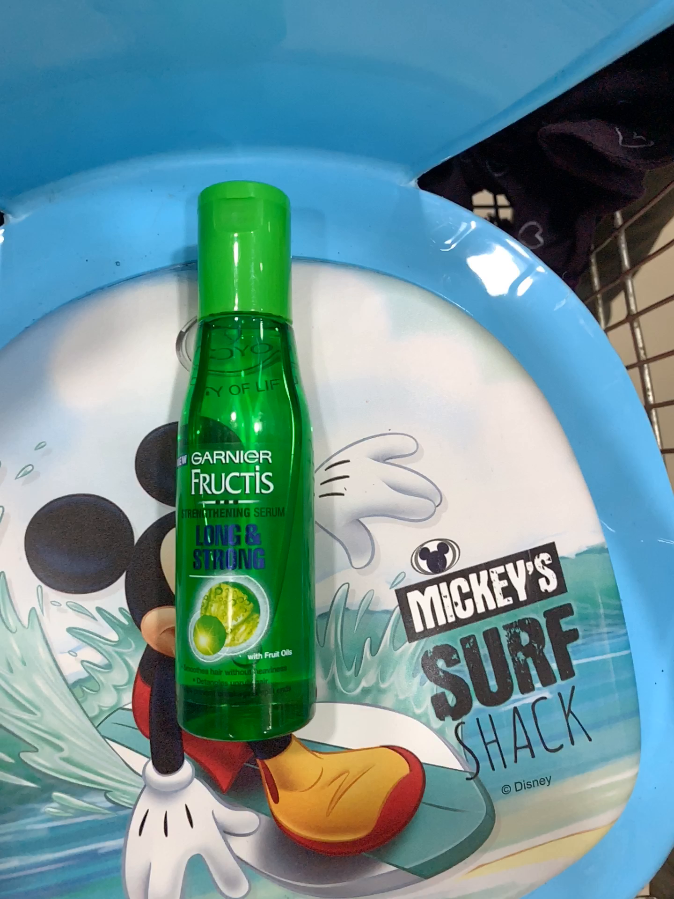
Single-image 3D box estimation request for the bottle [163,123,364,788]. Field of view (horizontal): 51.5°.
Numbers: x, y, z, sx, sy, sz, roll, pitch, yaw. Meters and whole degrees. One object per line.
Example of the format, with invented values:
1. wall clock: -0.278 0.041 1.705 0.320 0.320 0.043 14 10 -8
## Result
1. bottle: -0.019 0.000 0.192 0.040 0.040 0.160 -3 83 17
